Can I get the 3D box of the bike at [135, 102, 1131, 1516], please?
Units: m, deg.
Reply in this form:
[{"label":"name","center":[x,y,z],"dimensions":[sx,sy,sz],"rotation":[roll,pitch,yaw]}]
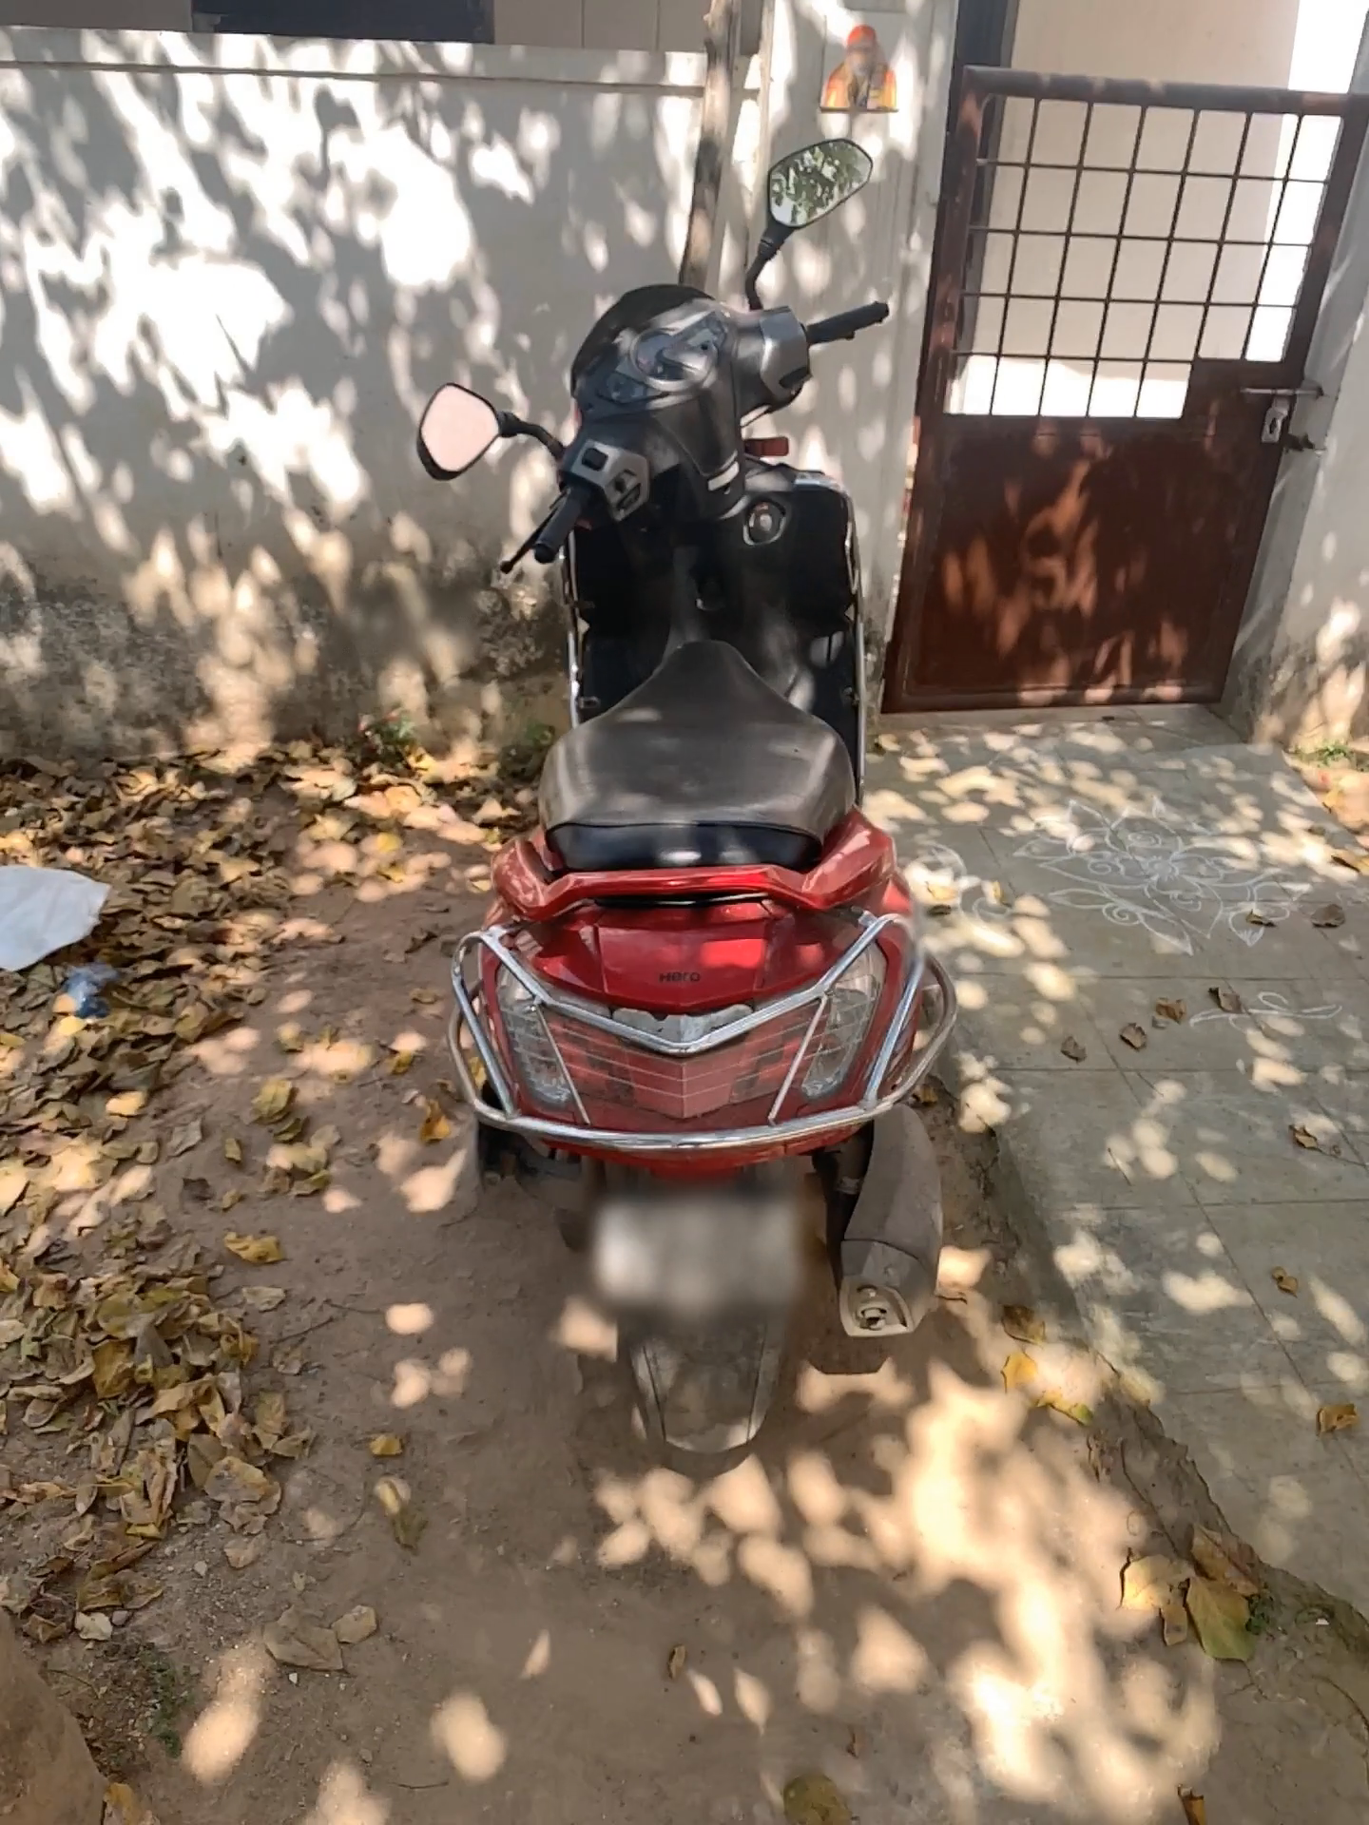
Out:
[{"label":"bike","center":[-0.188,-0.347,2.020],"dimensions":[0.735,1.155,1.768],"rotation":[-2,35,-8]}]
